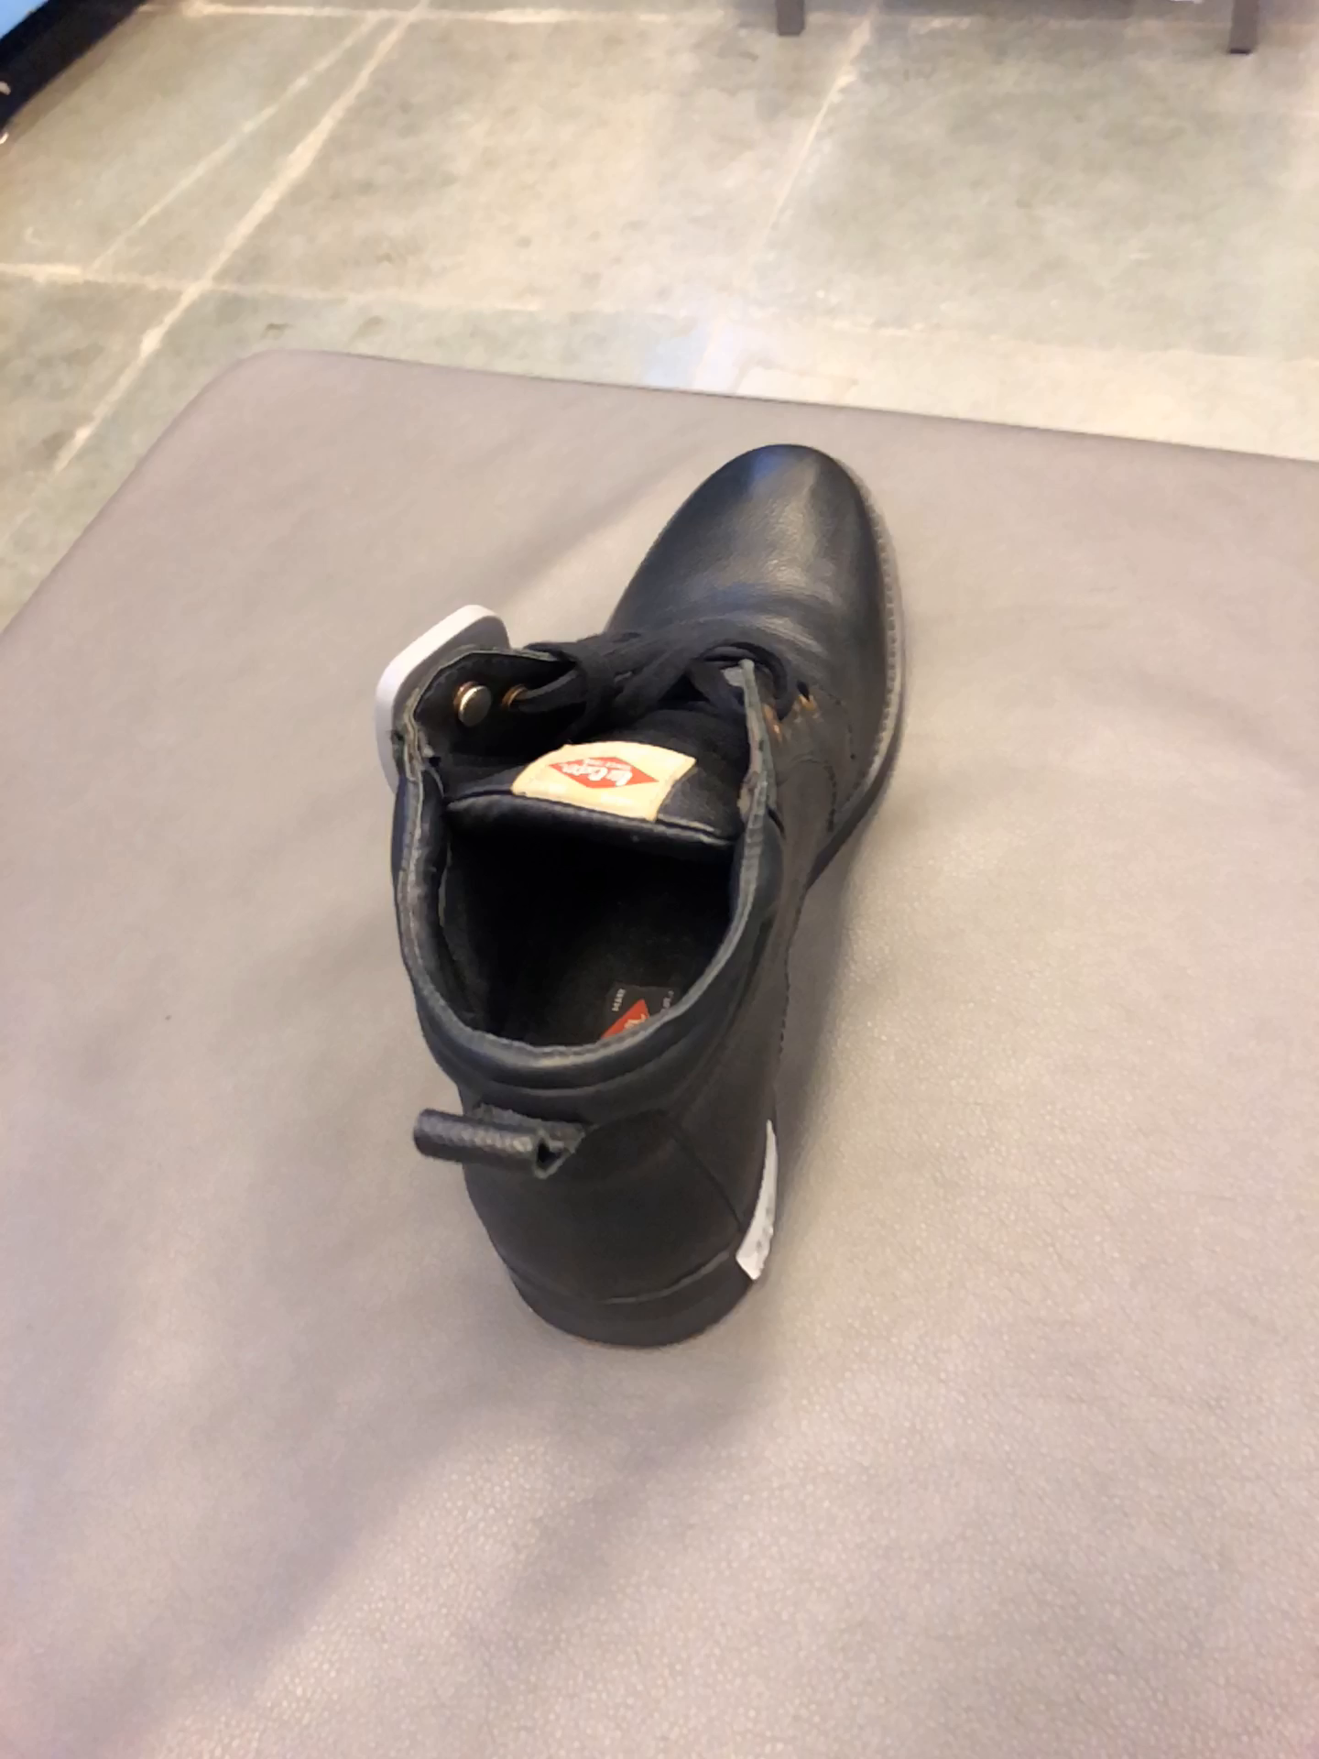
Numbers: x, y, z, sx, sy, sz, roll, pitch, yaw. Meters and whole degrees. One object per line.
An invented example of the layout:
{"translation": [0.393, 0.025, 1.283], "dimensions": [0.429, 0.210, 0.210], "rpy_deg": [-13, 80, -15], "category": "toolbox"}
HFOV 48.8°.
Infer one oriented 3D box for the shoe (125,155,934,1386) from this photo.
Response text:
{"translation": [-0.001, -0.041, 0.382], "dimensions": [0.111, 0.149, 0.285], "rpy_deg": [6, 56, 13], "category": "shoe"}
